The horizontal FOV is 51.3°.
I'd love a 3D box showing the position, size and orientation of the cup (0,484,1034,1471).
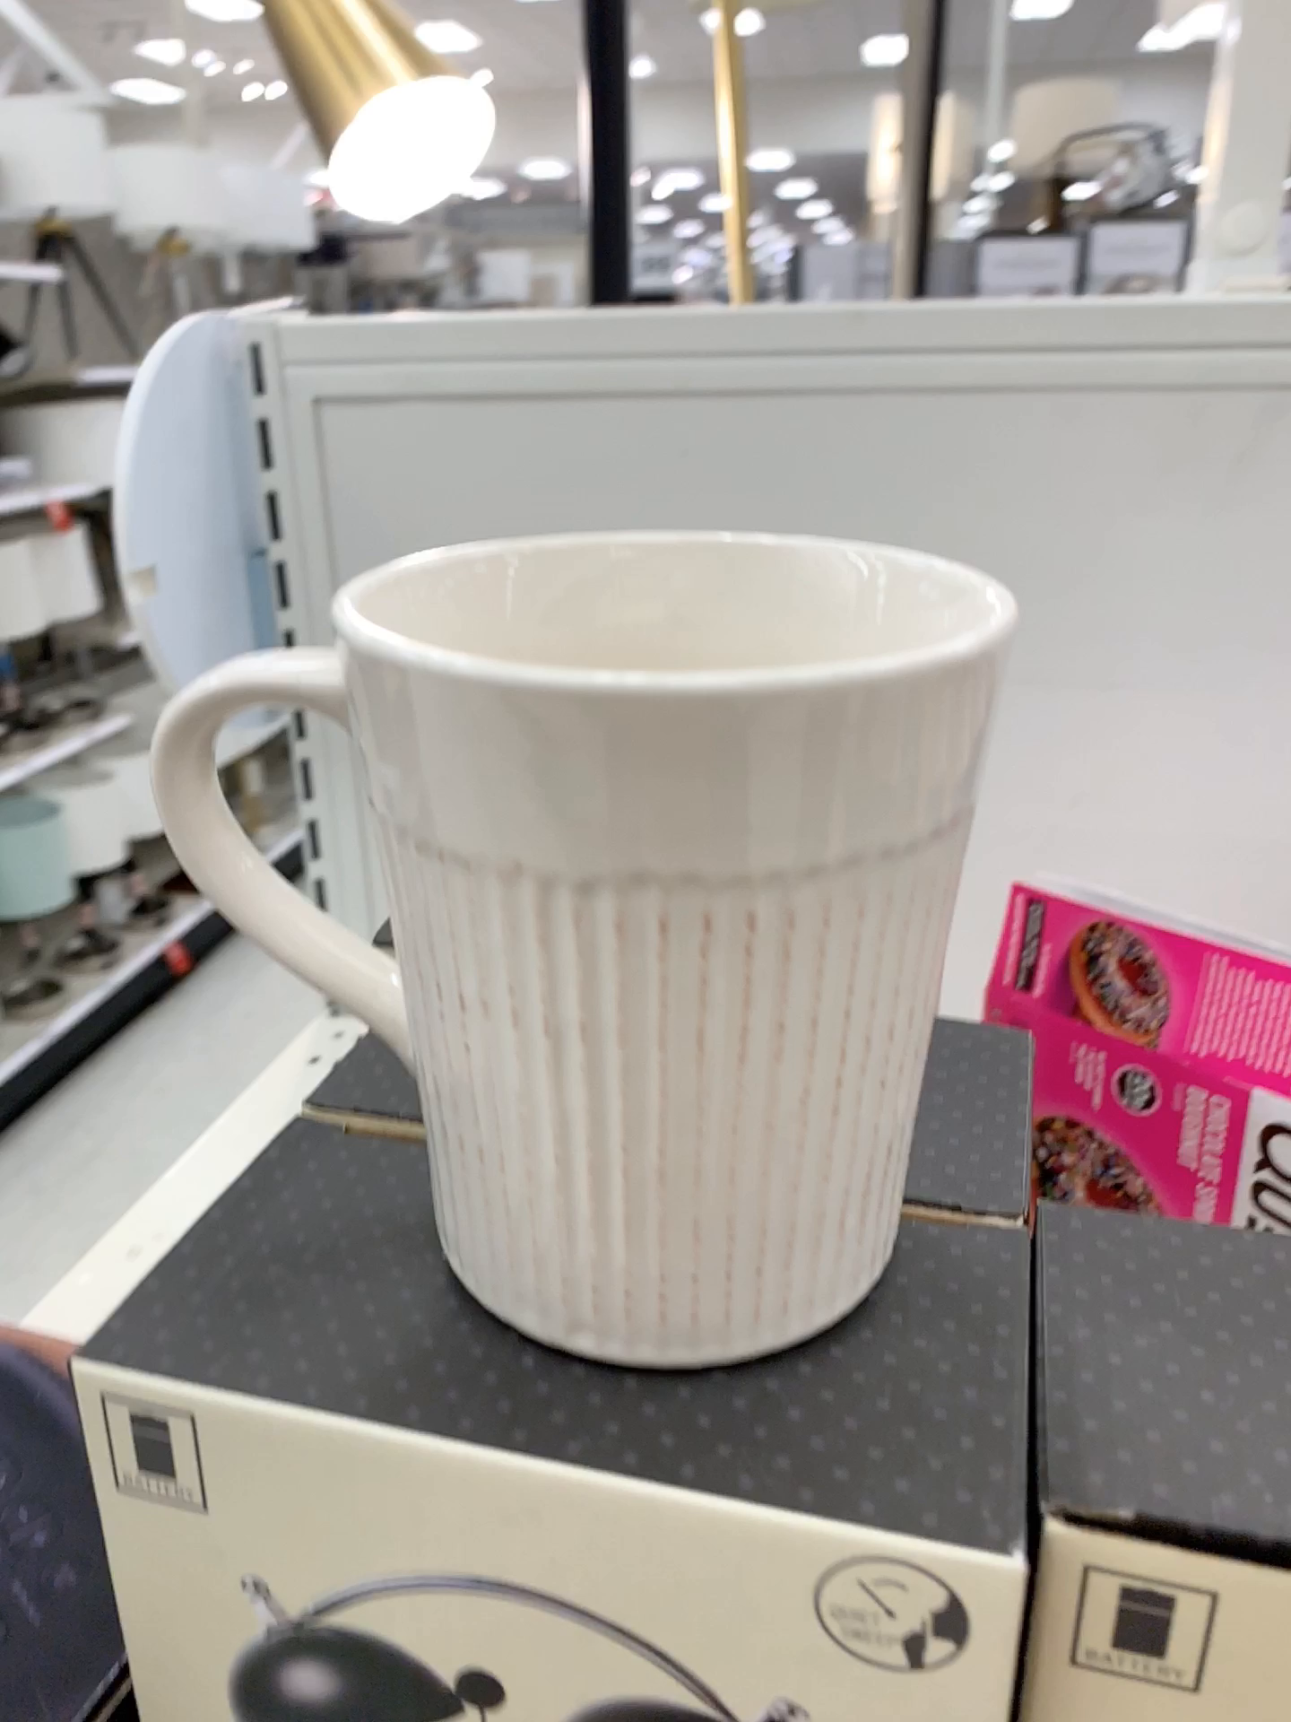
[{"bbox_3d":[-0.012,0.005,0.199,0.117,0.099,0.084,9,25,16],"label":"cup"}]
